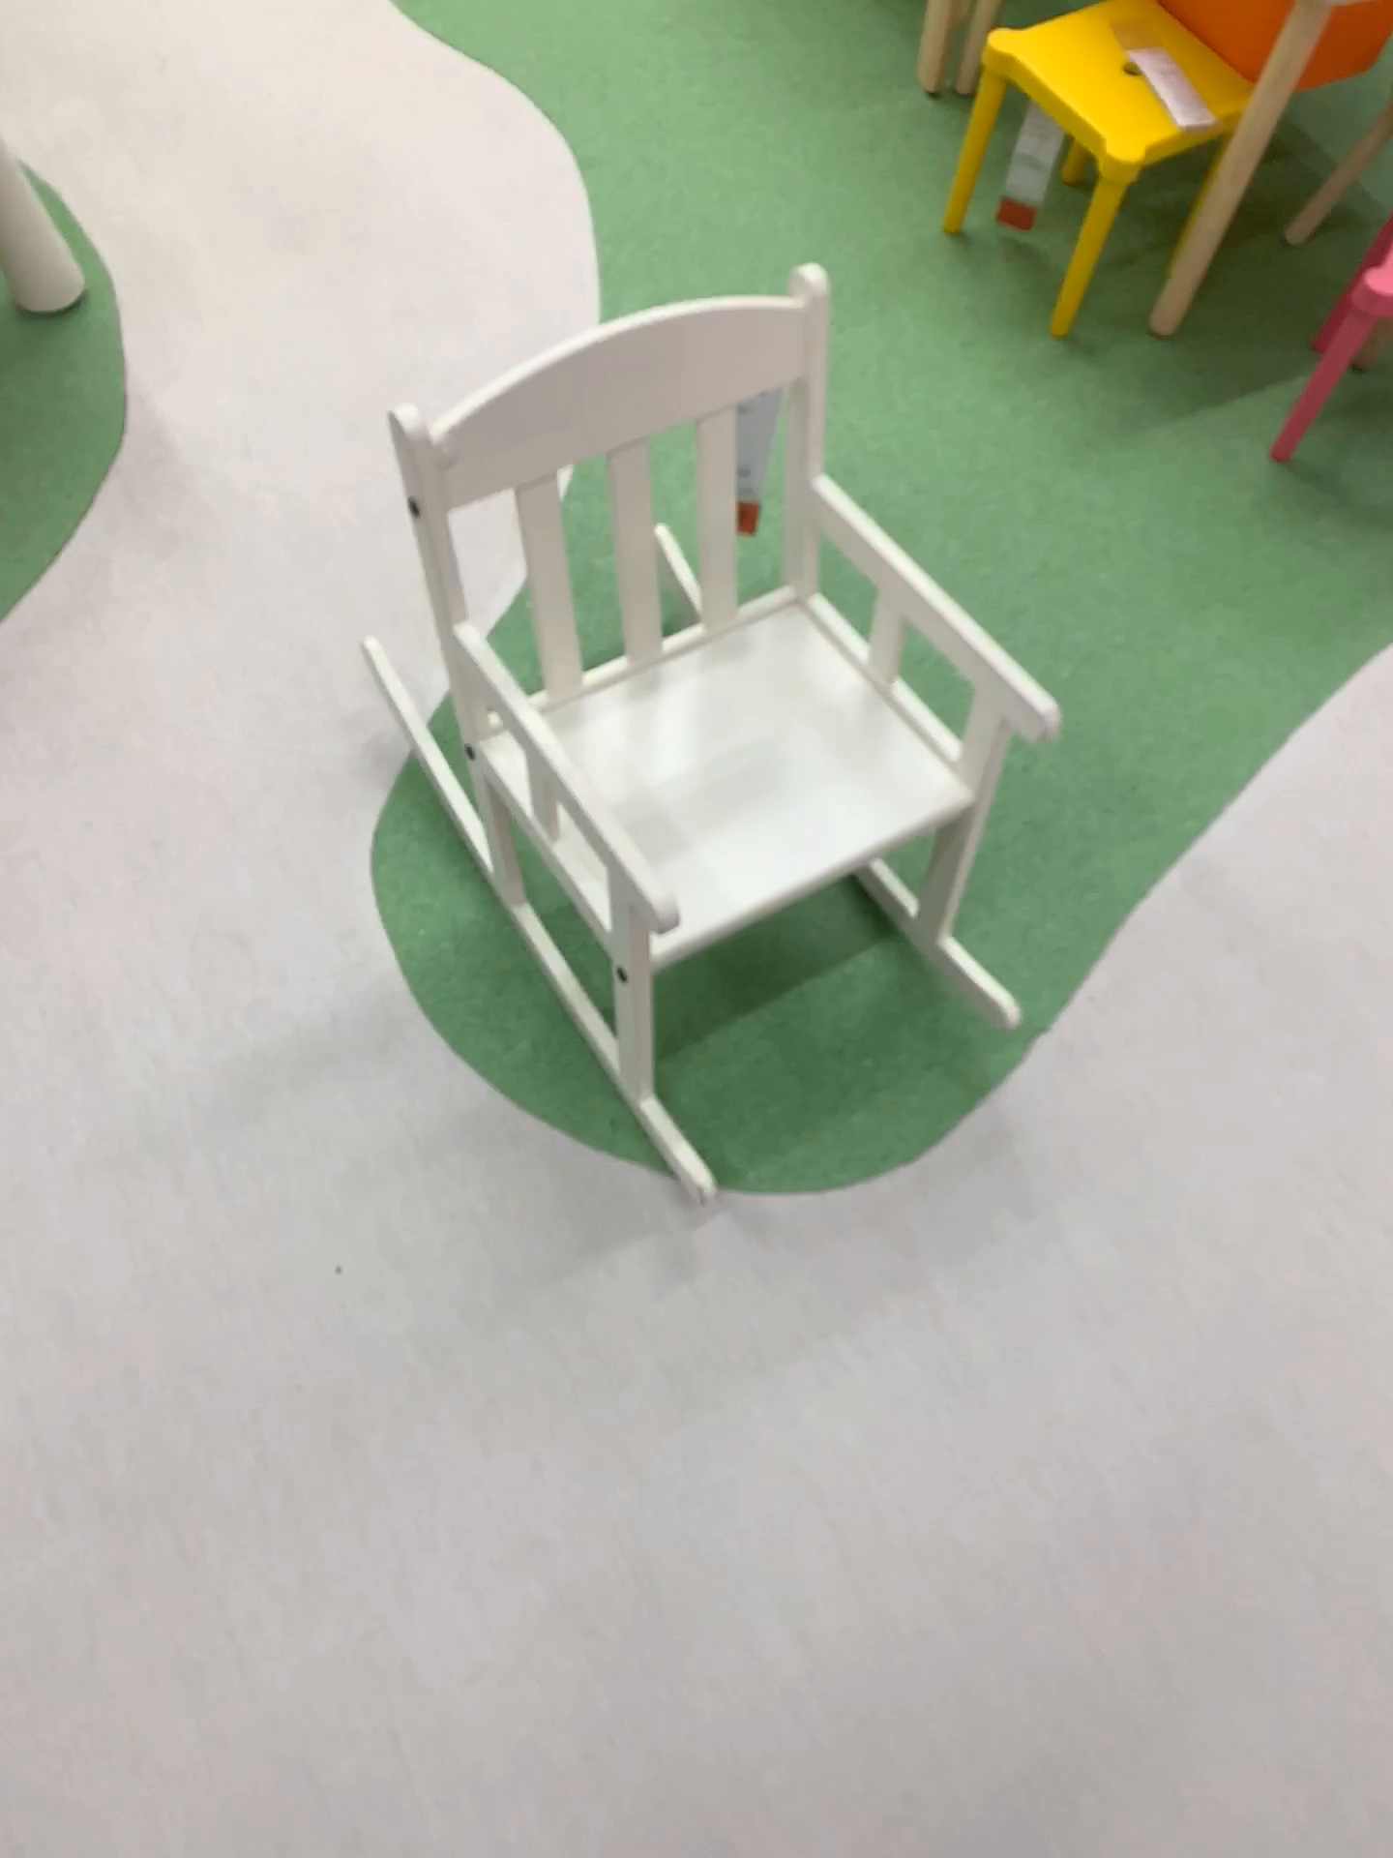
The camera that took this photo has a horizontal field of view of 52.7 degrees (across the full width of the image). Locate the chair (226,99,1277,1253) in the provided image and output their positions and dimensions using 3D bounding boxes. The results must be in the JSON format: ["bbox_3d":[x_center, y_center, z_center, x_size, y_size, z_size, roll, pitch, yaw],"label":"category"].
[{"bbox_3d":[-0.008,-0.204,1.199,0.410,0.499,0.731,-26,68,-18],"label":"chair"}]
